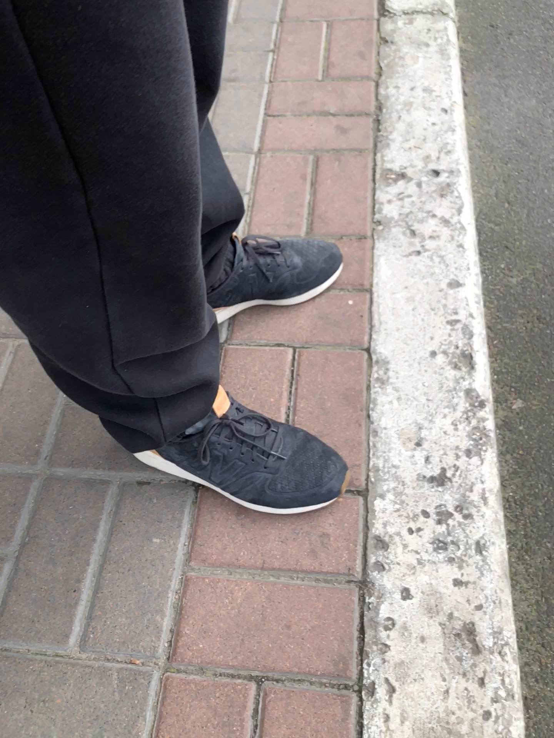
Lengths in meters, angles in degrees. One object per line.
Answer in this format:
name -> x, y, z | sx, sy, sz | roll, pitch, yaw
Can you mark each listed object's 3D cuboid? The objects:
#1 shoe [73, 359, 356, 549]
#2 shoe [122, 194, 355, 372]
shoe -> -0.062, 0.093, 0.680 | 0.280, 0.109, 0.105 | 14, 61, 15
shoe -> -0.046, -0.115, 0.816 | 0.280, 0.109, 0.105 | -21, 58, -6
